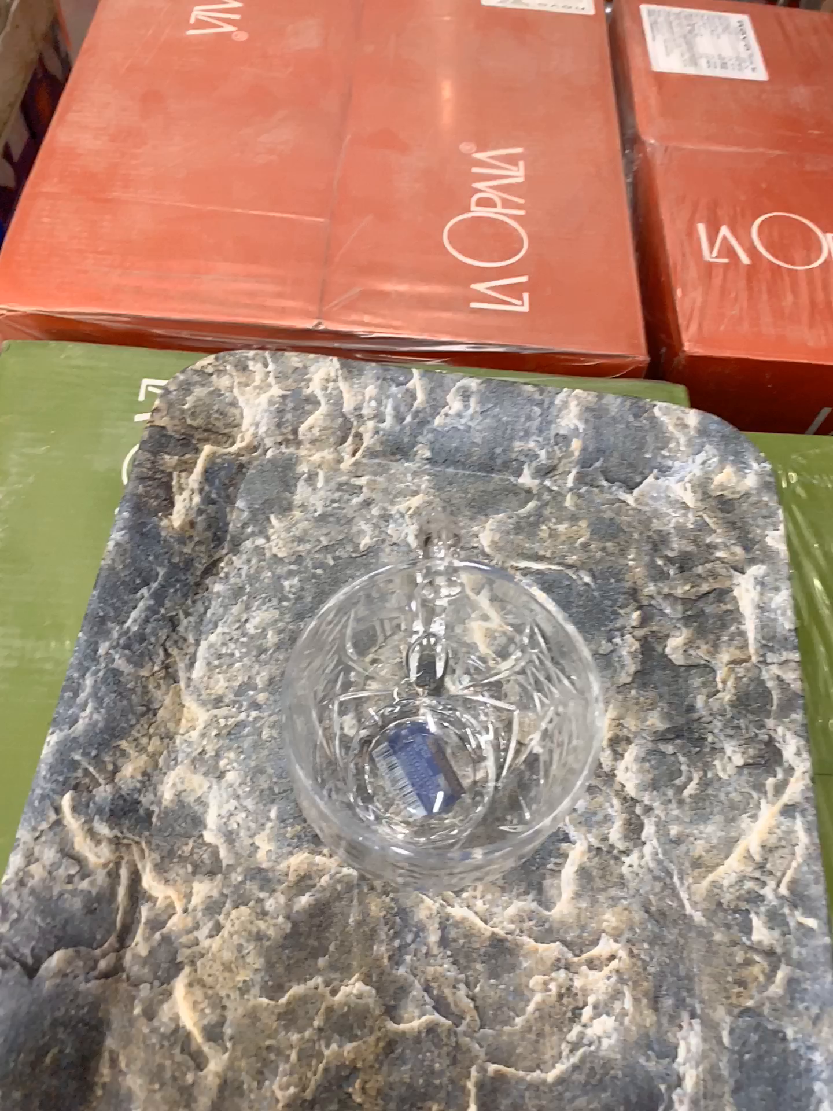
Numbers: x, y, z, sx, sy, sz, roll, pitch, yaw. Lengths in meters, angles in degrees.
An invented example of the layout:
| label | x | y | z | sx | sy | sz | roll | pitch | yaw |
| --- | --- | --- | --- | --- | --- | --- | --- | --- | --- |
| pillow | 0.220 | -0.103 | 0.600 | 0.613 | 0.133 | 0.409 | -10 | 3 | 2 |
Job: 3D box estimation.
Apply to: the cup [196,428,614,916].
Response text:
| label | x | y | z | sx | sy | sz | roll | pitch | yaw |
| --- | --- | --- | --- | --- | --- | --- | --- | --- | --- |
| cup | -0.008 | 0.030 | 0.218 | 0.080 | 0.070 | 0.100 | -2 | 61 | -7 |
